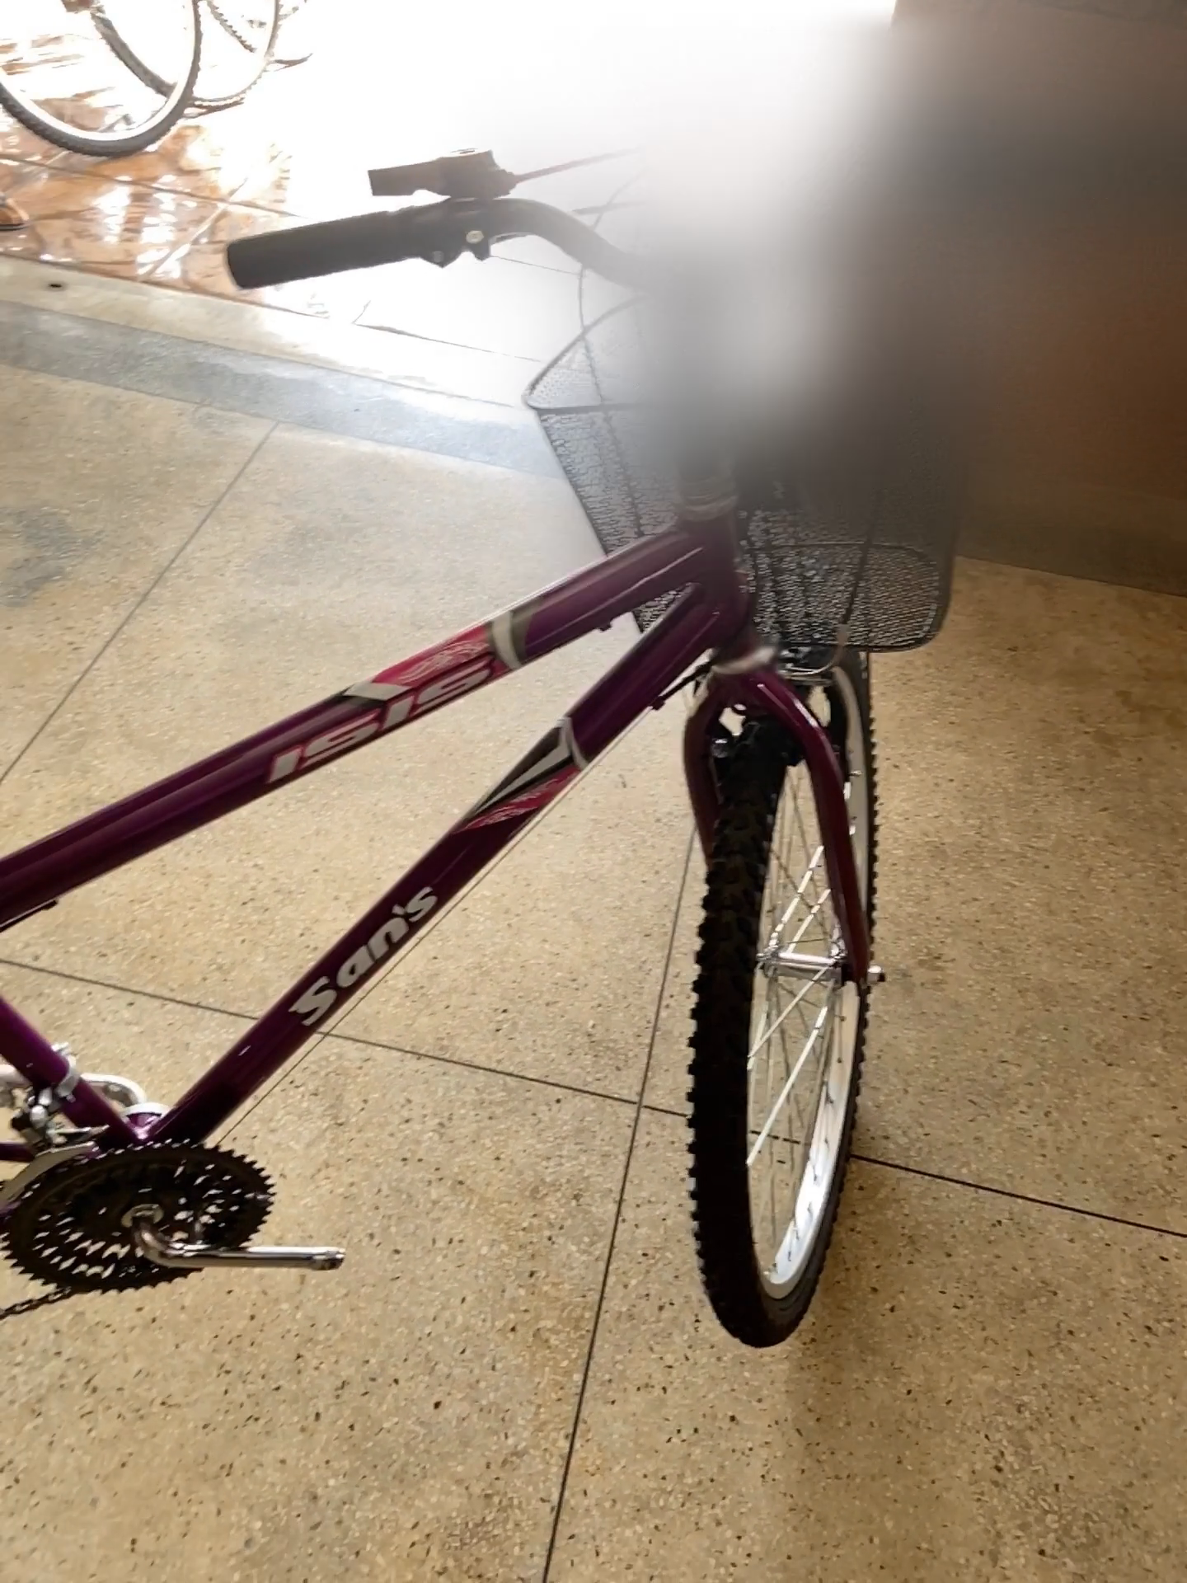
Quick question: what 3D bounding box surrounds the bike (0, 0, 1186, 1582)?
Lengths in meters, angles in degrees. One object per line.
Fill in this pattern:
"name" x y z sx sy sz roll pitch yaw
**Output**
"bike" -0.367 0.014 0.845 1.525 1.034 0.575 -19 52 -20
